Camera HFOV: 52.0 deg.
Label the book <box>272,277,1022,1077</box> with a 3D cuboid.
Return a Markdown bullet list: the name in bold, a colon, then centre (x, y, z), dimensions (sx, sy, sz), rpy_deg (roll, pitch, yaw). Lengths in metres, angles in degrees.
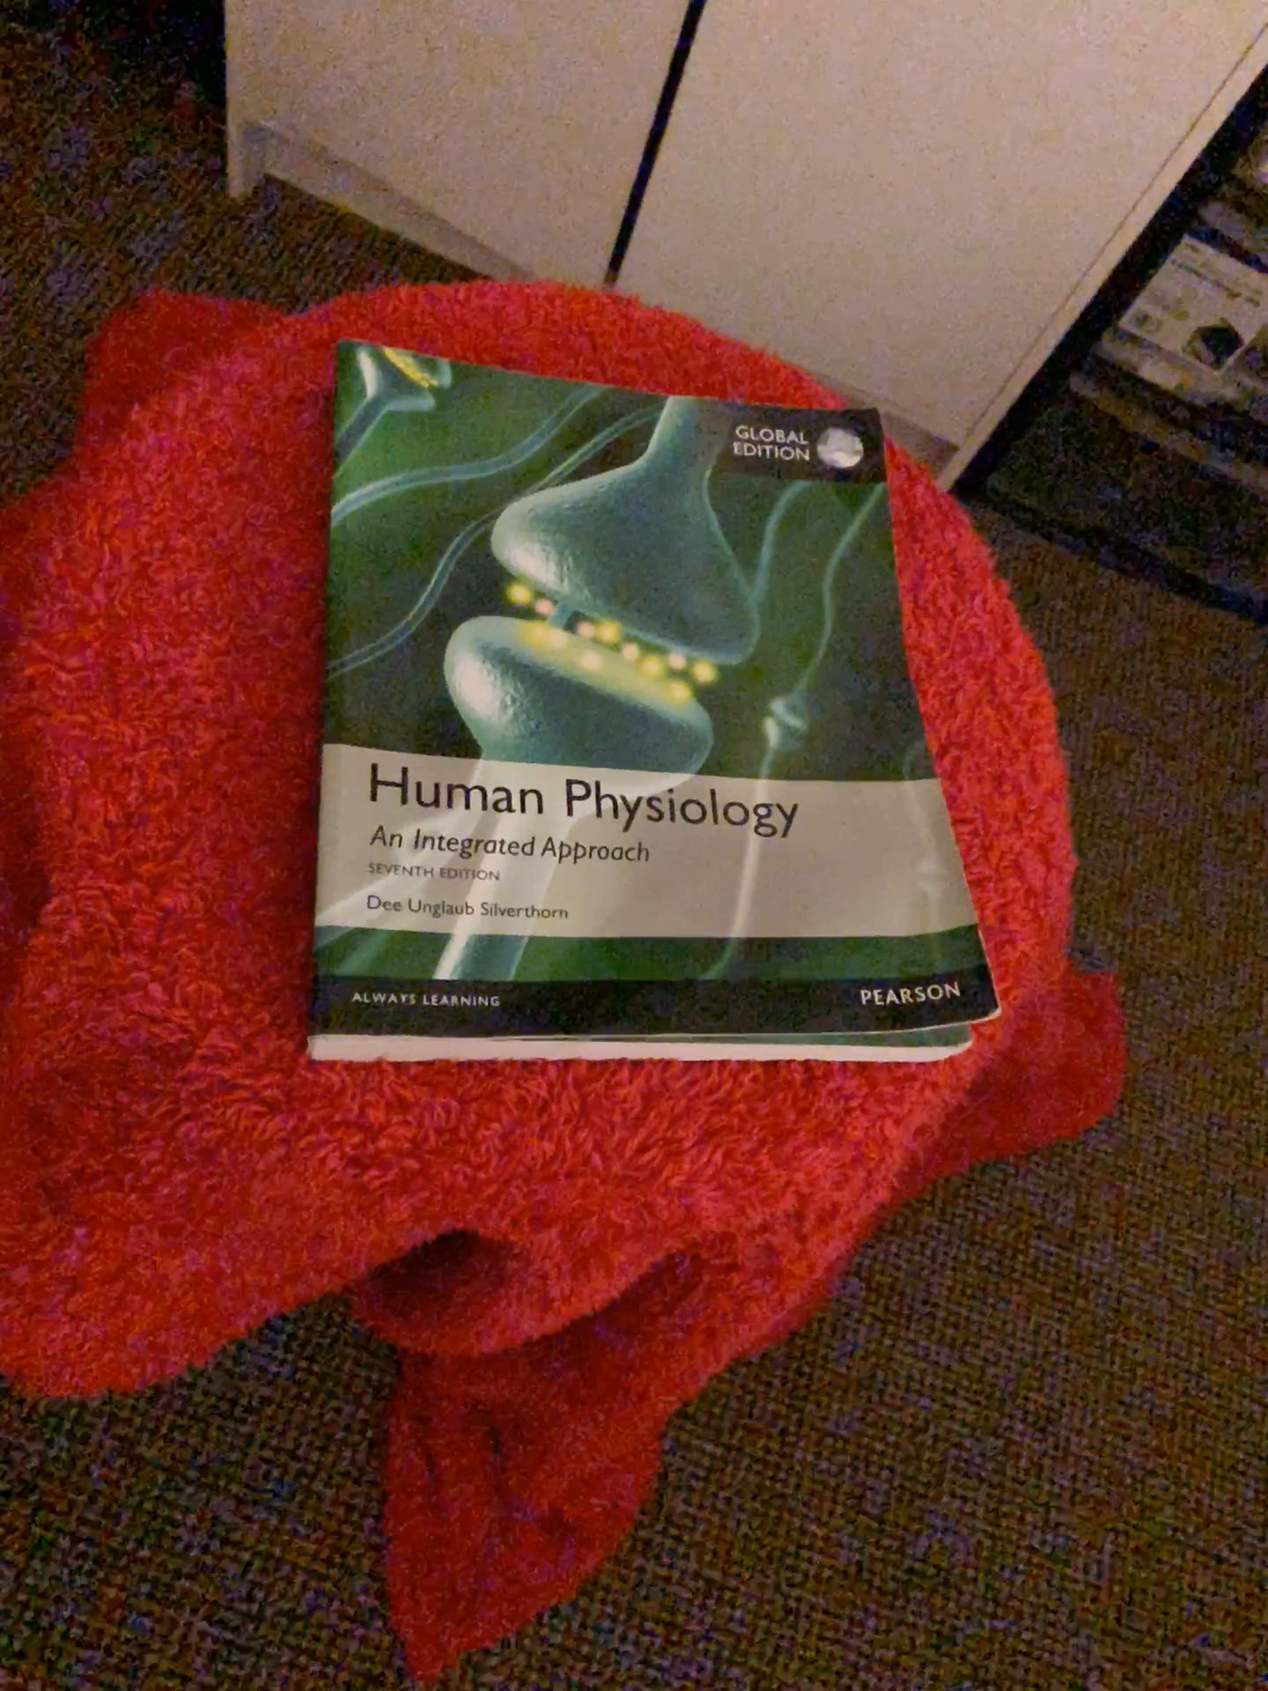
- **book**: centre (-0.004, -0.066, 0.511), dimensions (0.250, 0.070, 0.301), rpy_deg (3, 65, -15)
